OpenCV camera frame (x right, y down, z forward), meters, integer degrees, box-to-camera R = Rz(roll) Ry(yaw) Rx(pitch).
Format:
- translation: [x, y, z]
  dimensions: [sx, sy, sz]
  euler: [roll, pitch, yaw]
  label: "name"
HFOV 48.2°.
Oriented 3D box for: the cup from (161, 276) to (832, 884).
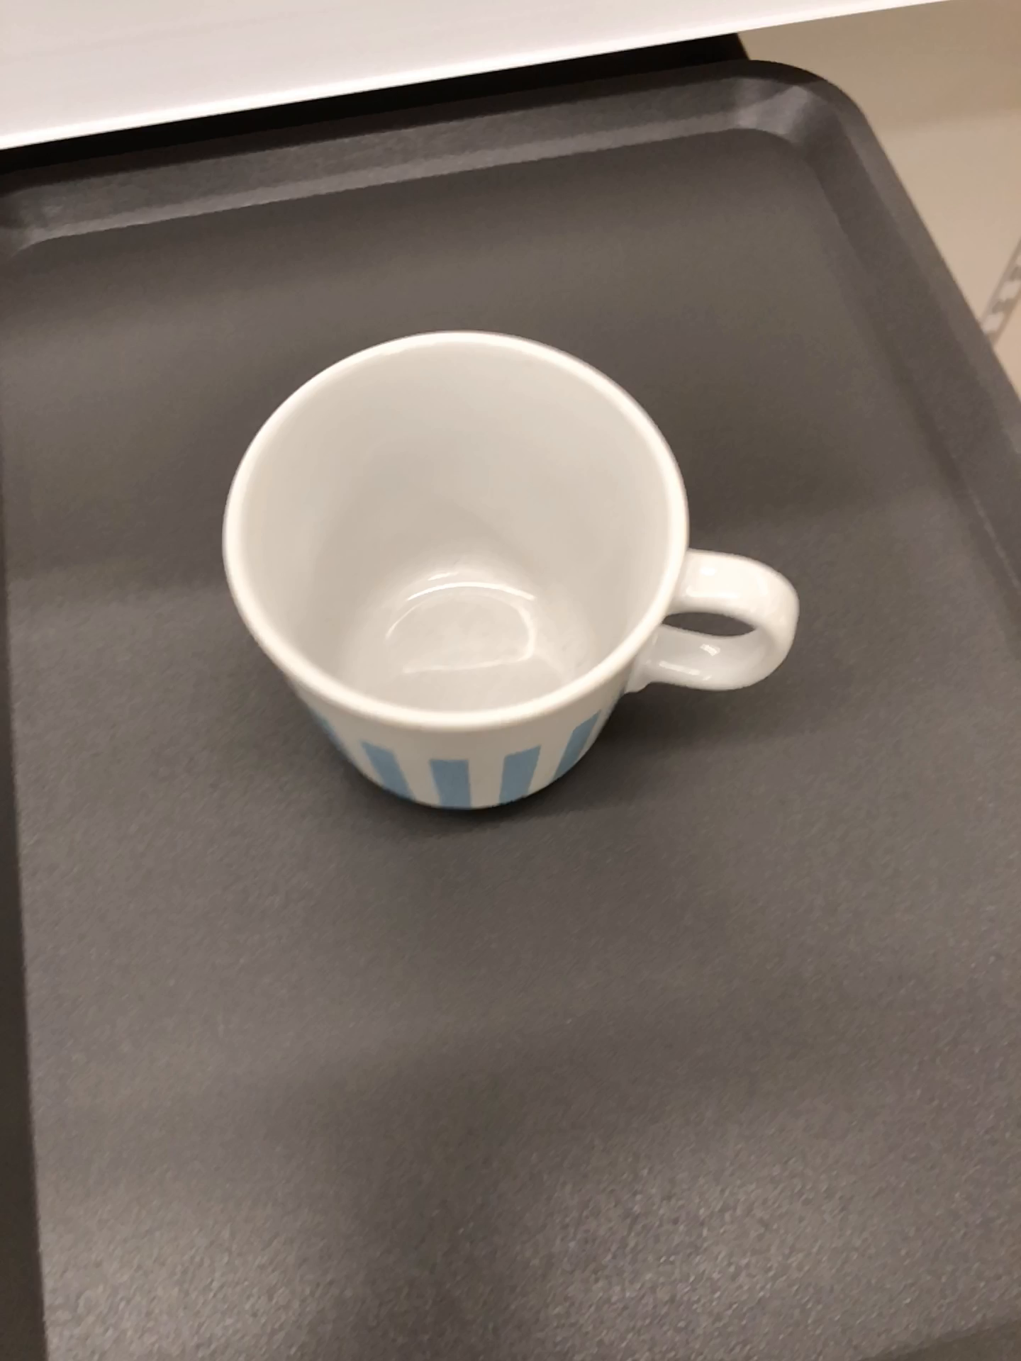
- translation: [0.002, -0.019, 0.238]
  dimensions: [0.110, 0.070, 0.090]
  euler: [8, 63, 3]
  label: "cup"
